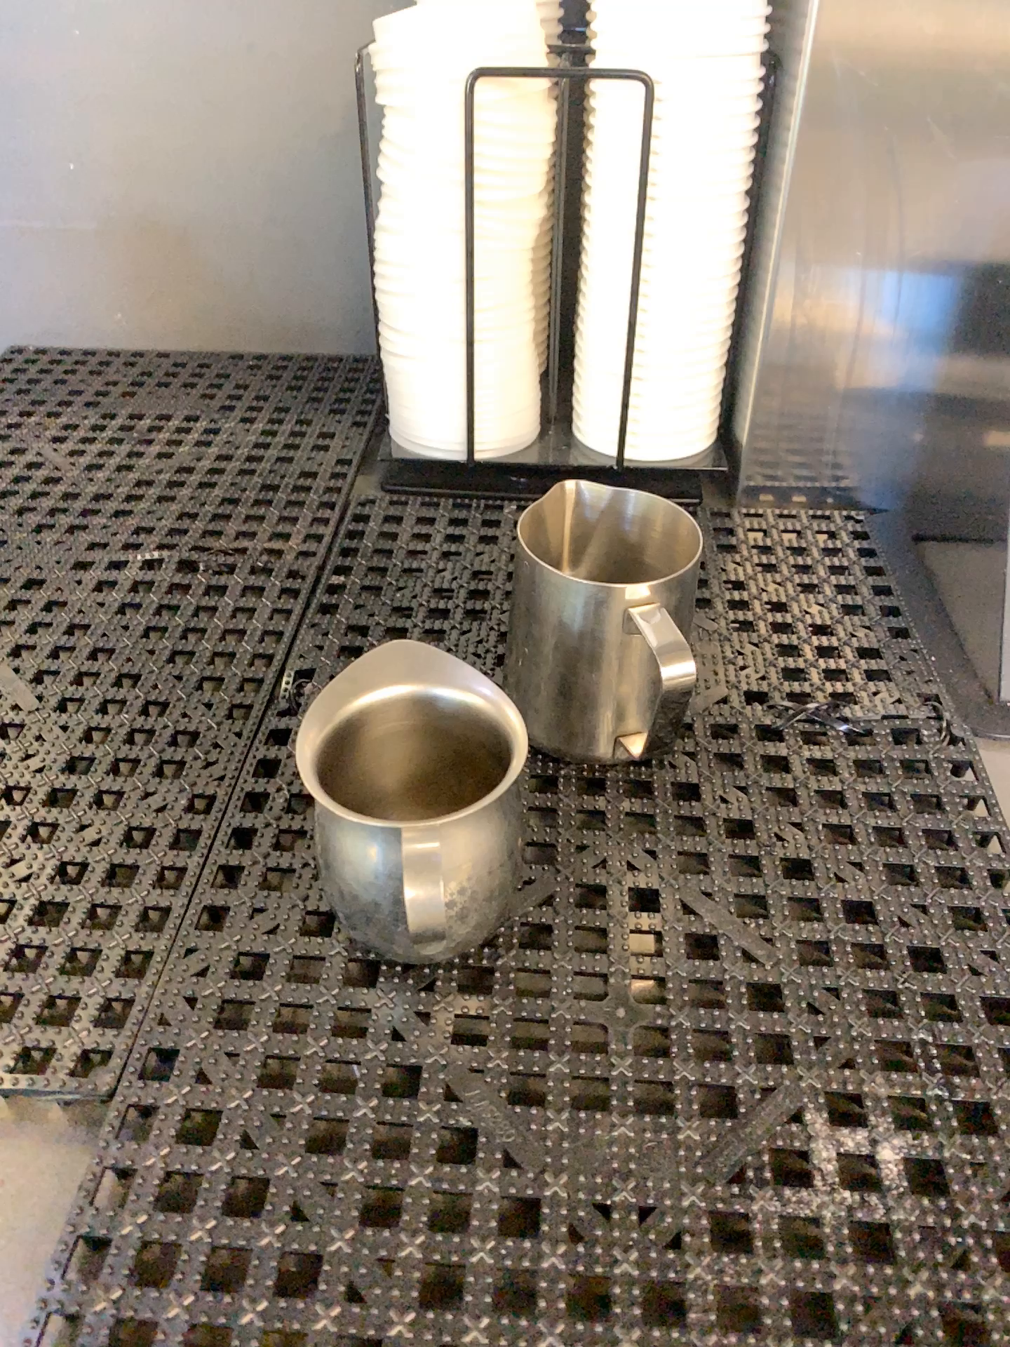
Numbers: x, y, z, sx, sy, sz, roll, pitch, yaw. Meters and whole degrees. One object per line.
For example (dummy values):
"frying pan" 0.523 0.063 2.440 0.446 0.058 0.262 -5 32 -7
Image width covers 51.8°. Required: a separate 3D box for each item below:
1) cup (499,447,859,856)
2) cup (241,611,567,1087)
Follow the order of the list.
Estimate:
"cup" 0.050 -0.014 0.367 0.080 0.080 0.121 -8 38 -11
"cup" -0.036 0.047 0.322 0.080 0.070 0.121 -7 38 -9
